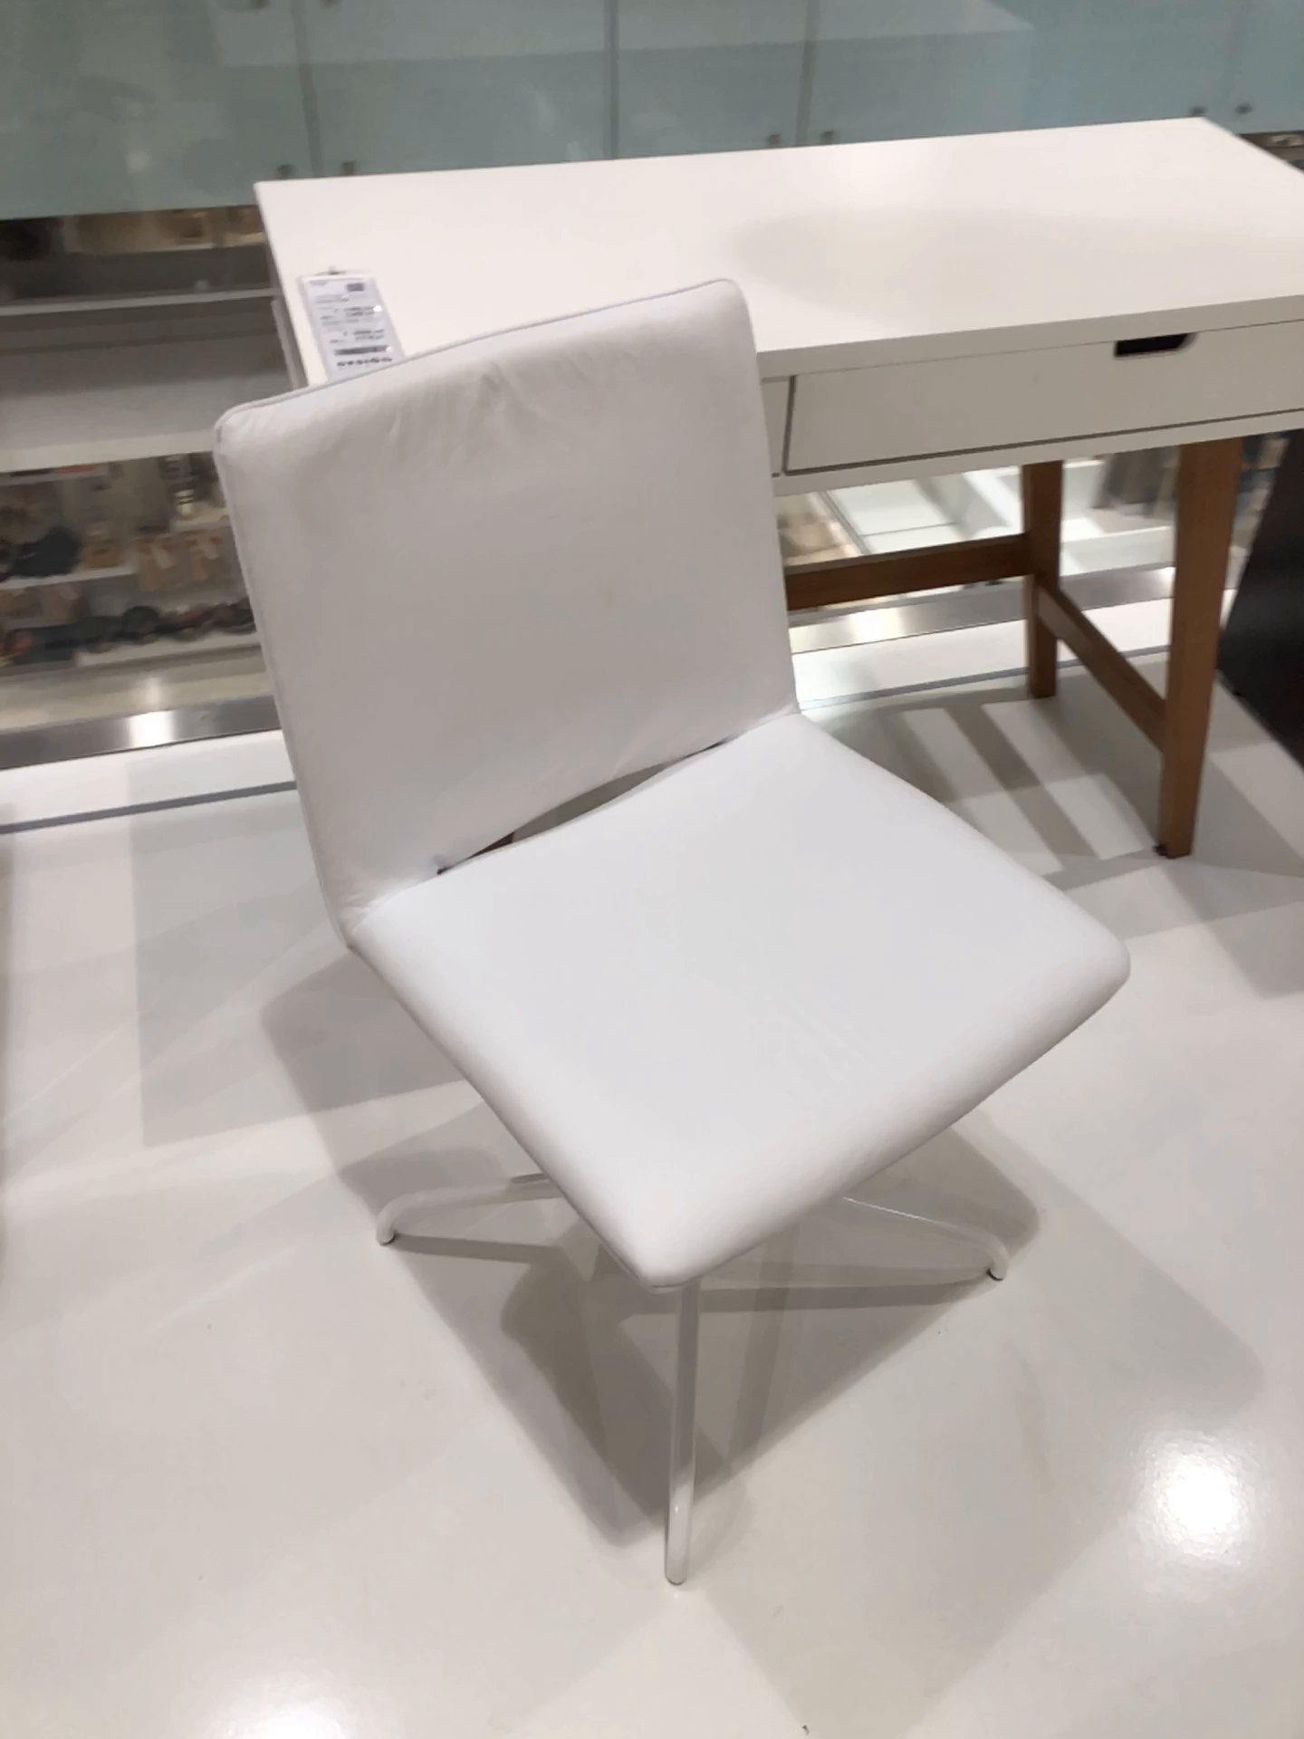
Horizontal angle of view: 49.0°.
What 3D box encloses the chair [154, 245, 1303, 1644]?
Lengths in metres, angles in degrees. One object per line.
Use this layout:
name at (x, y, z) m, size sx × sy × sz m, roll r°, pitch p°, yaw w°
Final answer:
chair at (0.044, 0.069, 1.125) m, size 0.512 × 0.843 × 0.502 m, roll -27°, pitch 50°, yaw -28°
